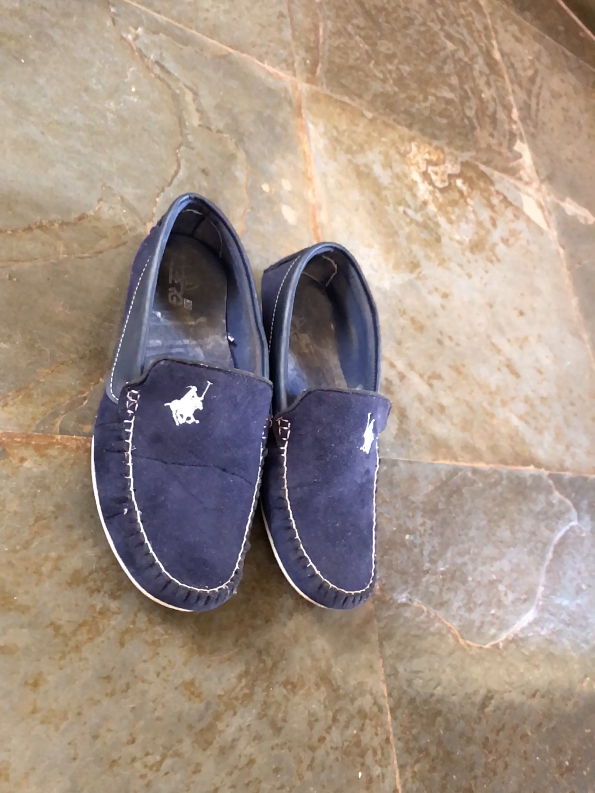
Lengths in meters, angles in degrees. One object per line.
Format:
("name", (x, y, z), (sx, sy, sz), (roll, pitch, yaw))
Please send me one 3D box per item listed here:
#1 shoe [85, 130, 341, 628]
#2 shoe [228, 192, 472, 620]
("shoe", (-0.057, -0.009, 0.387), (0.100, 0.089, 0.261), (10, 63, -33))
("shoe", (0.026, 0.008, 0.448), (0.100, 0.089, 0.261), (10, 63, -33))
